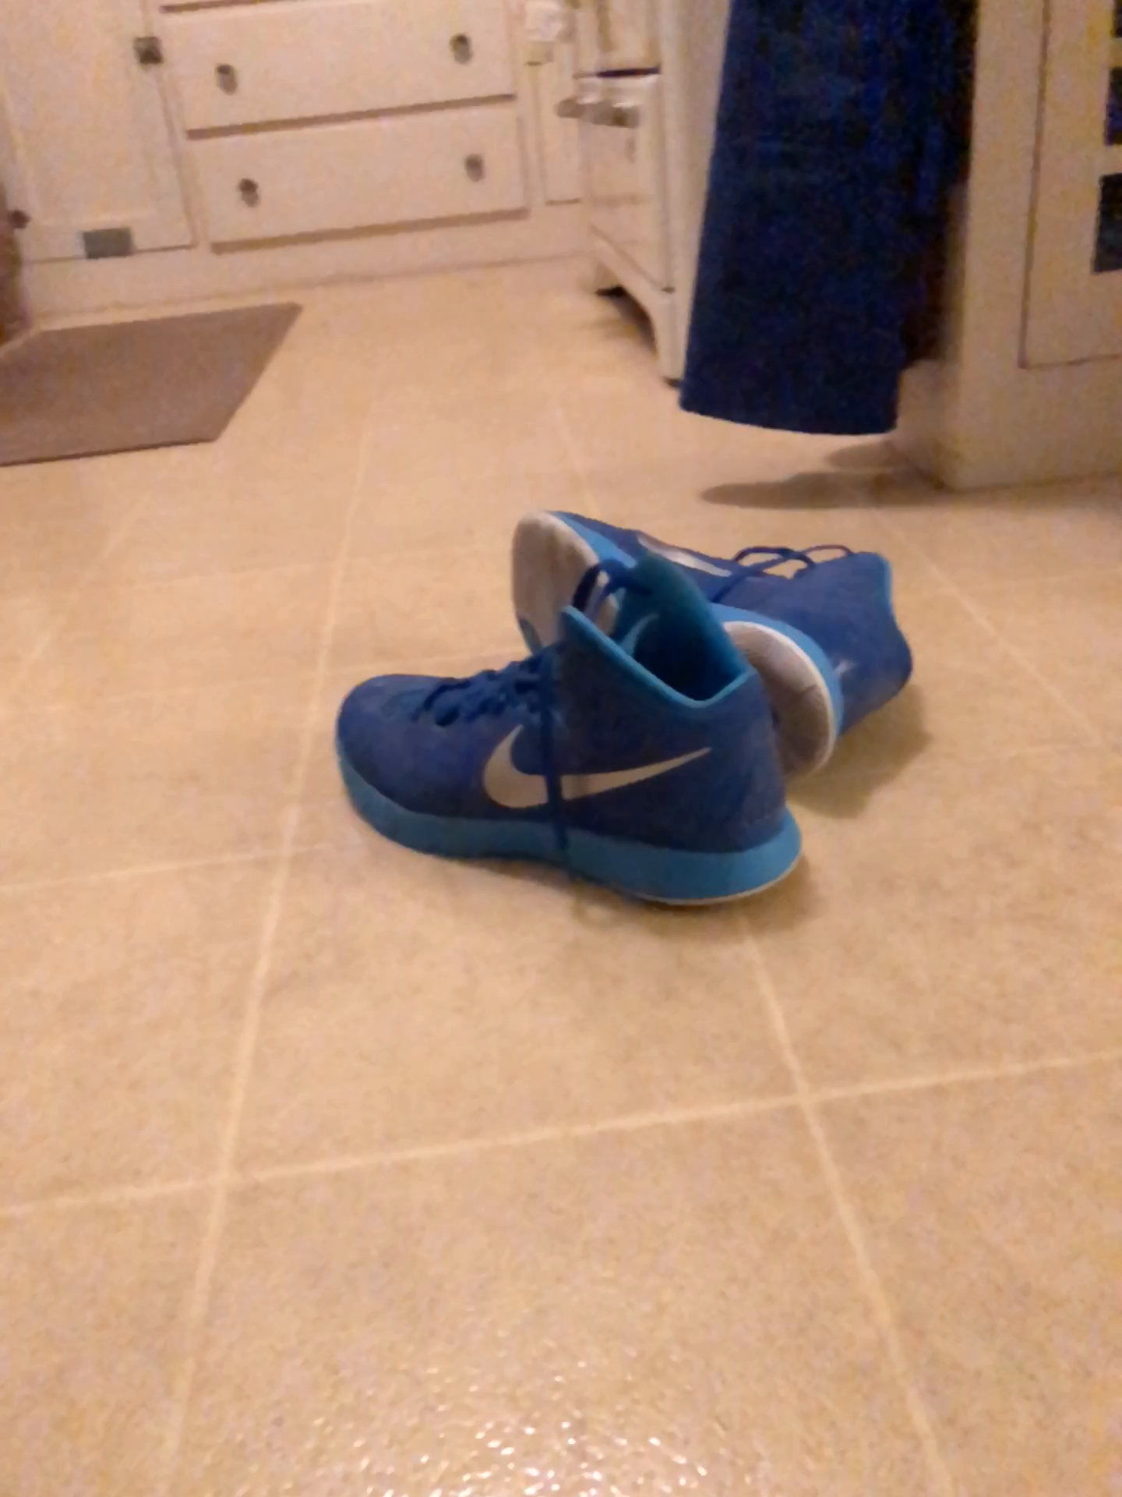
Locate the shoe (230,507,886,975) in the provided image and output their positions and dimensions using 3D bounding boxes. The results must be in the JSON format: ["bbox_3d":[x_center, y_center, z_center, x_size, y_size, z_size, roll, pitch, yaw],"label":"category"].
[{"bbox_3d":[-0.005,-0.021,0.639,0.311,0.144,0.120,14,35,33],"label":"shoe"}]

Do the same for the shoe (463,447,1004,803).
[{"bbox_3d":[0.094,-0.093,0.757,0.159,0.119,0.282,-23,32,-36],"label":"shoe"}]
